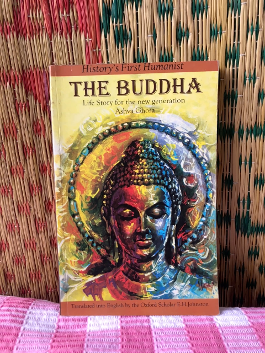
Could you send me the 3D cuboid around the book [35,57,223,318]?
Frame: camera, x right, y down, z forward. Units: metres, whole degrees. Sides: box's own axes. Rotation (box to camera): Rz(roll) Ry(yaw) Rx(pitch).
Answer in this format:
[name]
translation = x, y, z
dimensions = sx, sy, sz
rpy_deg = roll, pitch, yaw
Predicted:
[book]
translation = -0.001, 0.011, 0.250
dimensions = 0.146, 0.206, 0.030
rpy_deg = -1, 4, 2
